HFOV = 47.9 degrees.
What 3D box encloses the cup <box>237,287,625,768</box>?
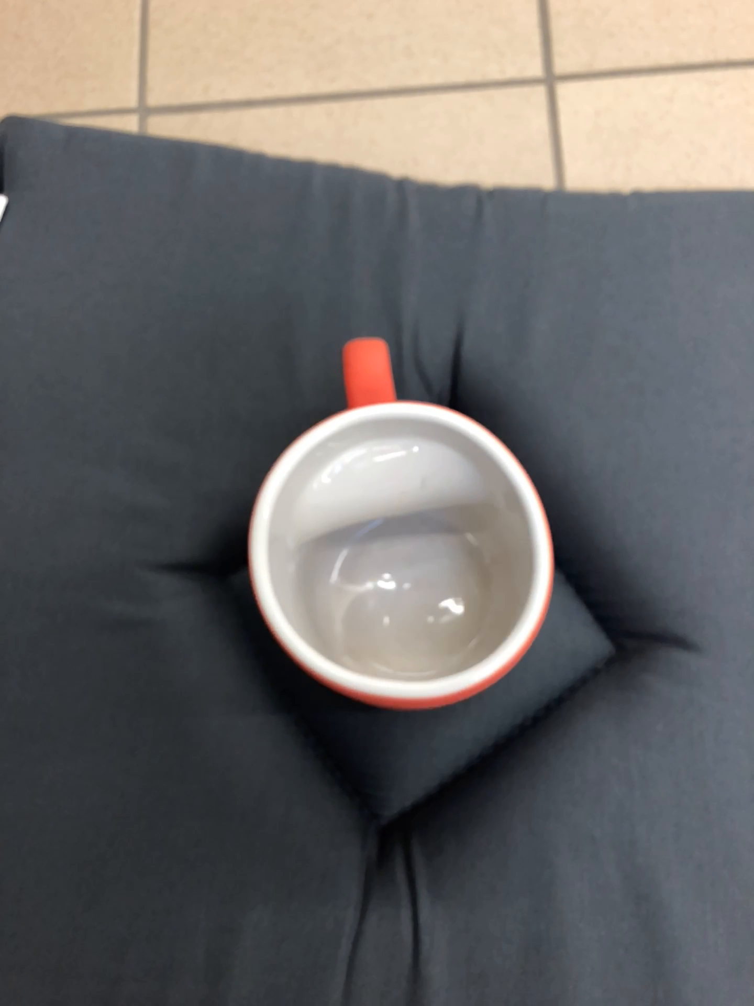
[{"bbox_3d":[0.014,0.013,0.268,0.090,0.090,0.120,-6,77,3],"label":"cup"}]
